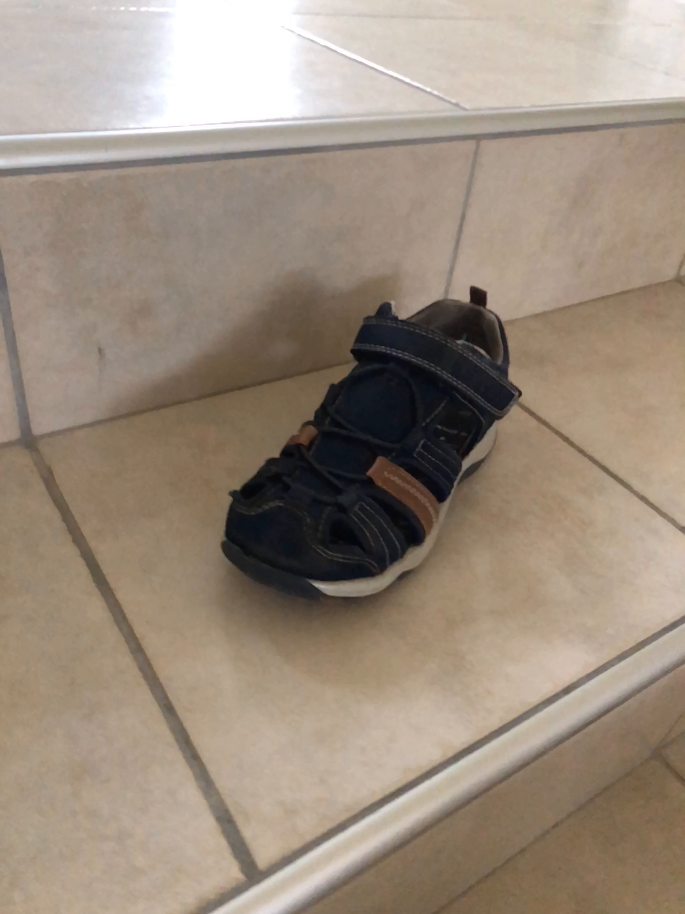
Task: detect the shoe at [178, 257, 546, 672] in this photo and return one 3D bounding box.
[{"bbox_3d":[0.020,-0.014,0.406,0.090,0.099,0.222,24,40,19],"label":"shoe"}]
